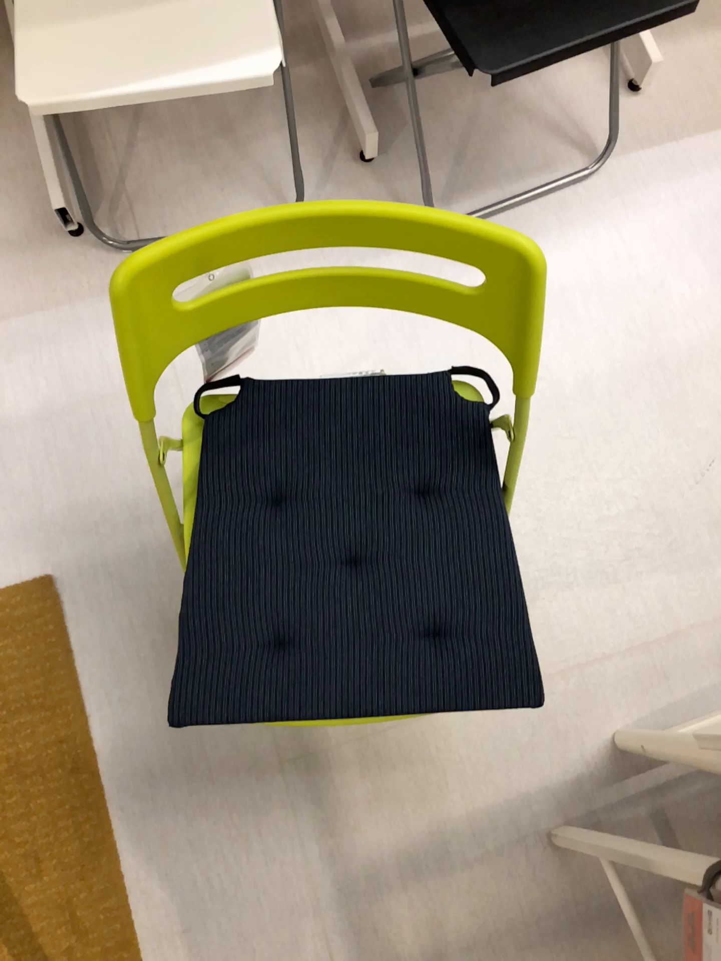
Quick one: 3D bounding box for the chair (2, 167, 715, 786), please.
[{"bbox_3d":[-0.018,0.053,0.913,0.490,0.639,0.461,-4,75,-2],"label":"chair"}]
